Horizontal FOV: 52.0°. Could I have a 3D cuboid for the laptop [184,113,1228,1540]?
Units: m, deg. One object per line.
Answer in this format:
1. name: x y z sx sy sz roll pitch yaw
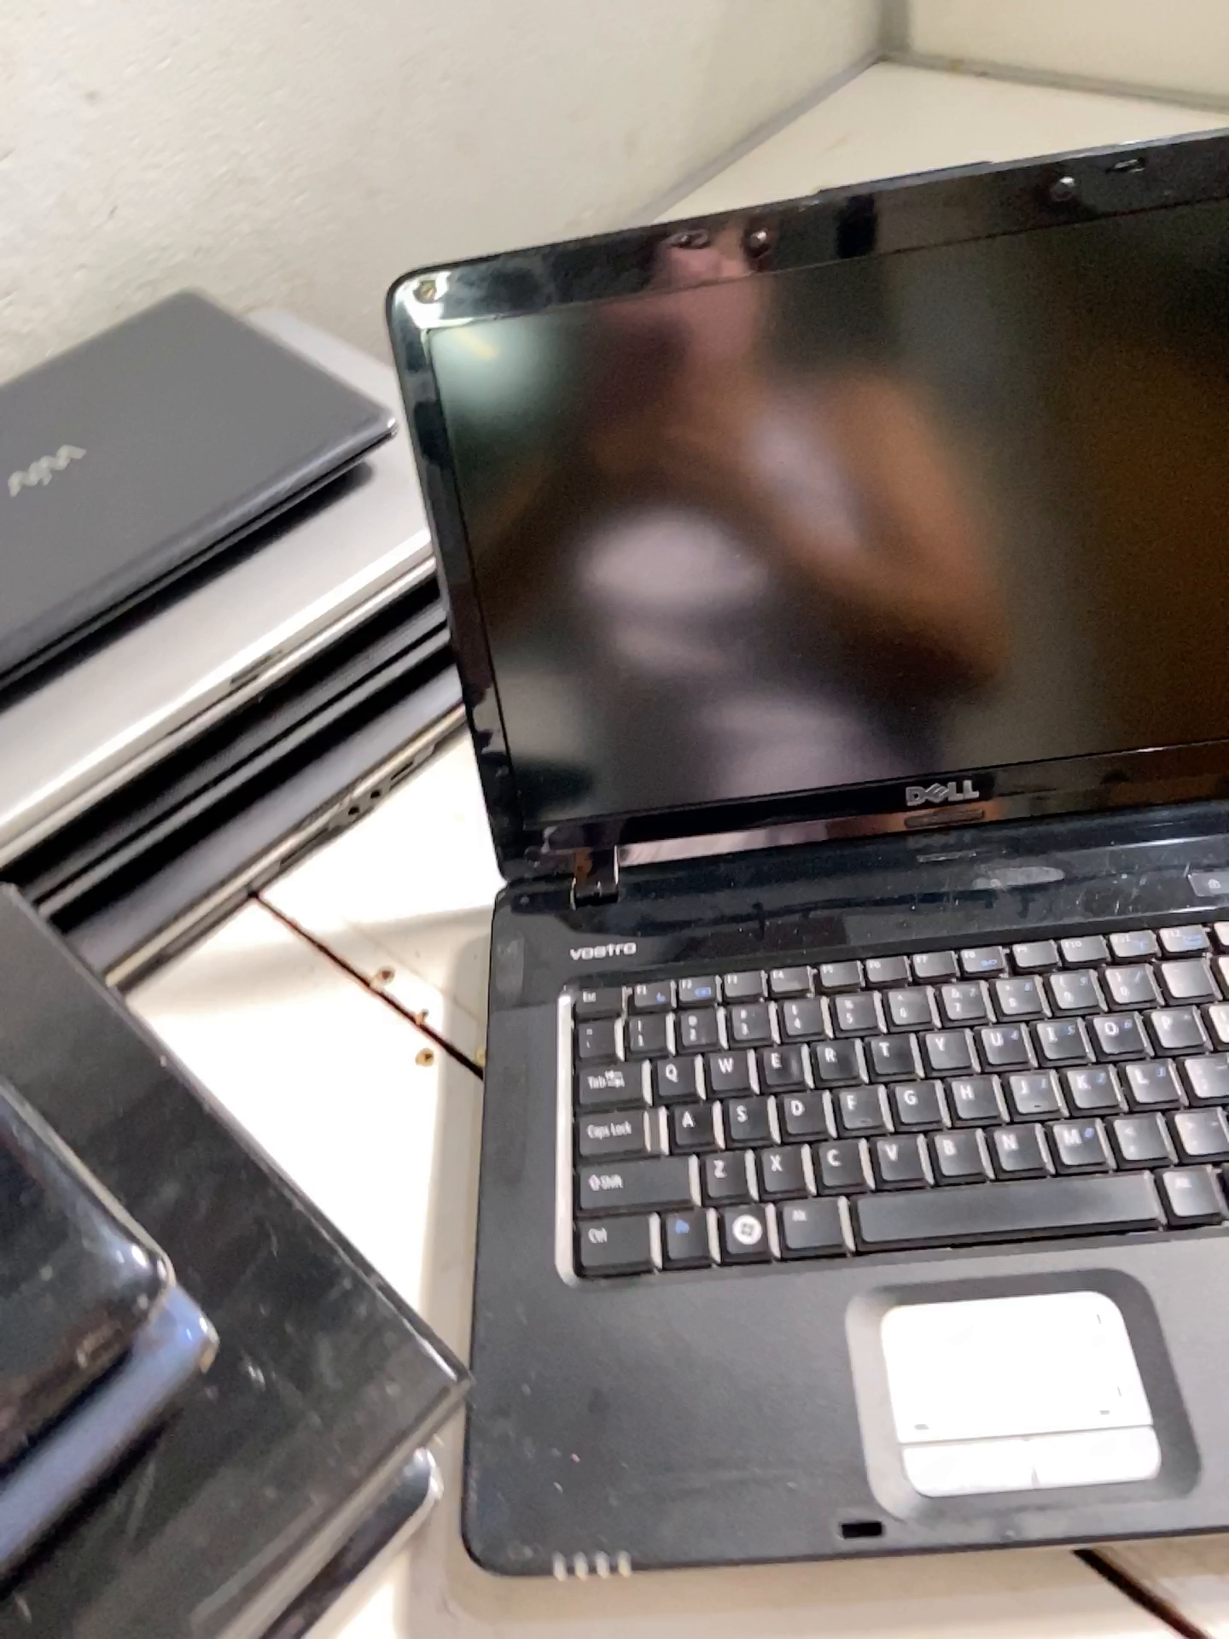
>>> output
1. laptop: 0.121 -0.014 0.389 0.364 0.203 0.354 -7 46 6
